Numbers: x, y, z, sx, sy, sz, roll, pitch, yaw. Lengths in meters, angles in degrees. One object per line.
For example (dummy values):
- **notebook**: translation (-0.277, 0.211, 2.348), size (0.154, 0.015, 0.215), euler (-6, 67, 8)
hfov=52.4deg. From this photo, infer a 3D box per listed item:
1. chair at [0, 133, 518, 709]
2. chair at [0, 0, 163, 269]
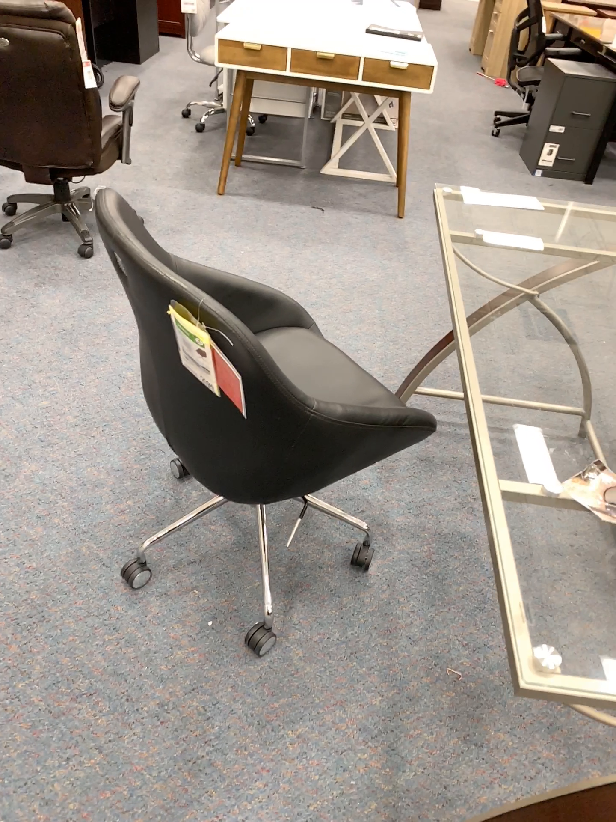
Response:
- **chair**: translation (-0.149, -0.020, 1.331), size (0.655, 0.844, 0.659), euler (-20, 47, -29)
- **chair**: translation (-1.060, -1.236, 2.597), size (0.727, 0.923, 0.858), euler (3, 39, -5)
